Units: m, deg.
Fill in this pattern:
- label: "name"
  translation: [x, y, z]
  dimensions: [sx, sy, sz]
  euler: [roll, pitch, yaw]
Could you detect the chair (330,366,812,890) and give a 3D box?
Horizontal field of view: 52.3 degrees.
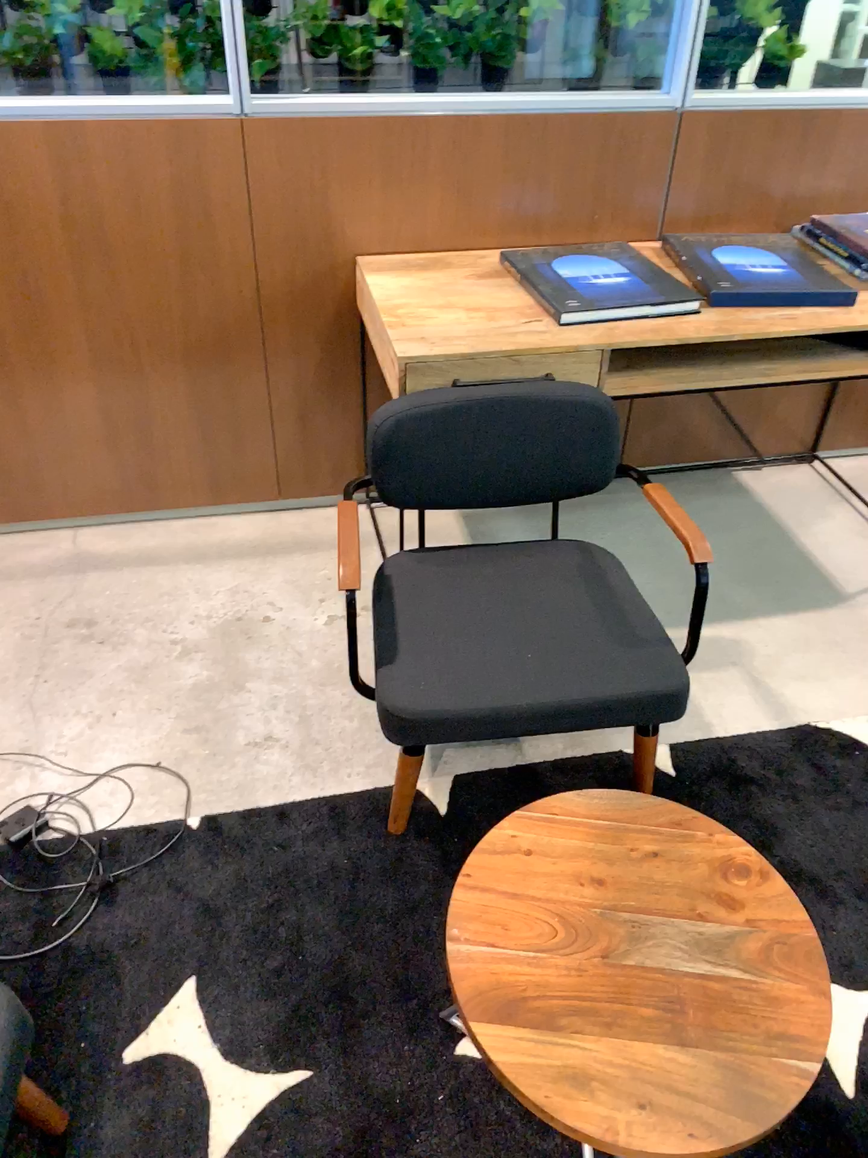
- label: "chair"
  translation: [0.192, 0.098, 1.900]
  dimensions: [0.750, 0.875, 0.614]
  euler: [-4, 38, -7]
